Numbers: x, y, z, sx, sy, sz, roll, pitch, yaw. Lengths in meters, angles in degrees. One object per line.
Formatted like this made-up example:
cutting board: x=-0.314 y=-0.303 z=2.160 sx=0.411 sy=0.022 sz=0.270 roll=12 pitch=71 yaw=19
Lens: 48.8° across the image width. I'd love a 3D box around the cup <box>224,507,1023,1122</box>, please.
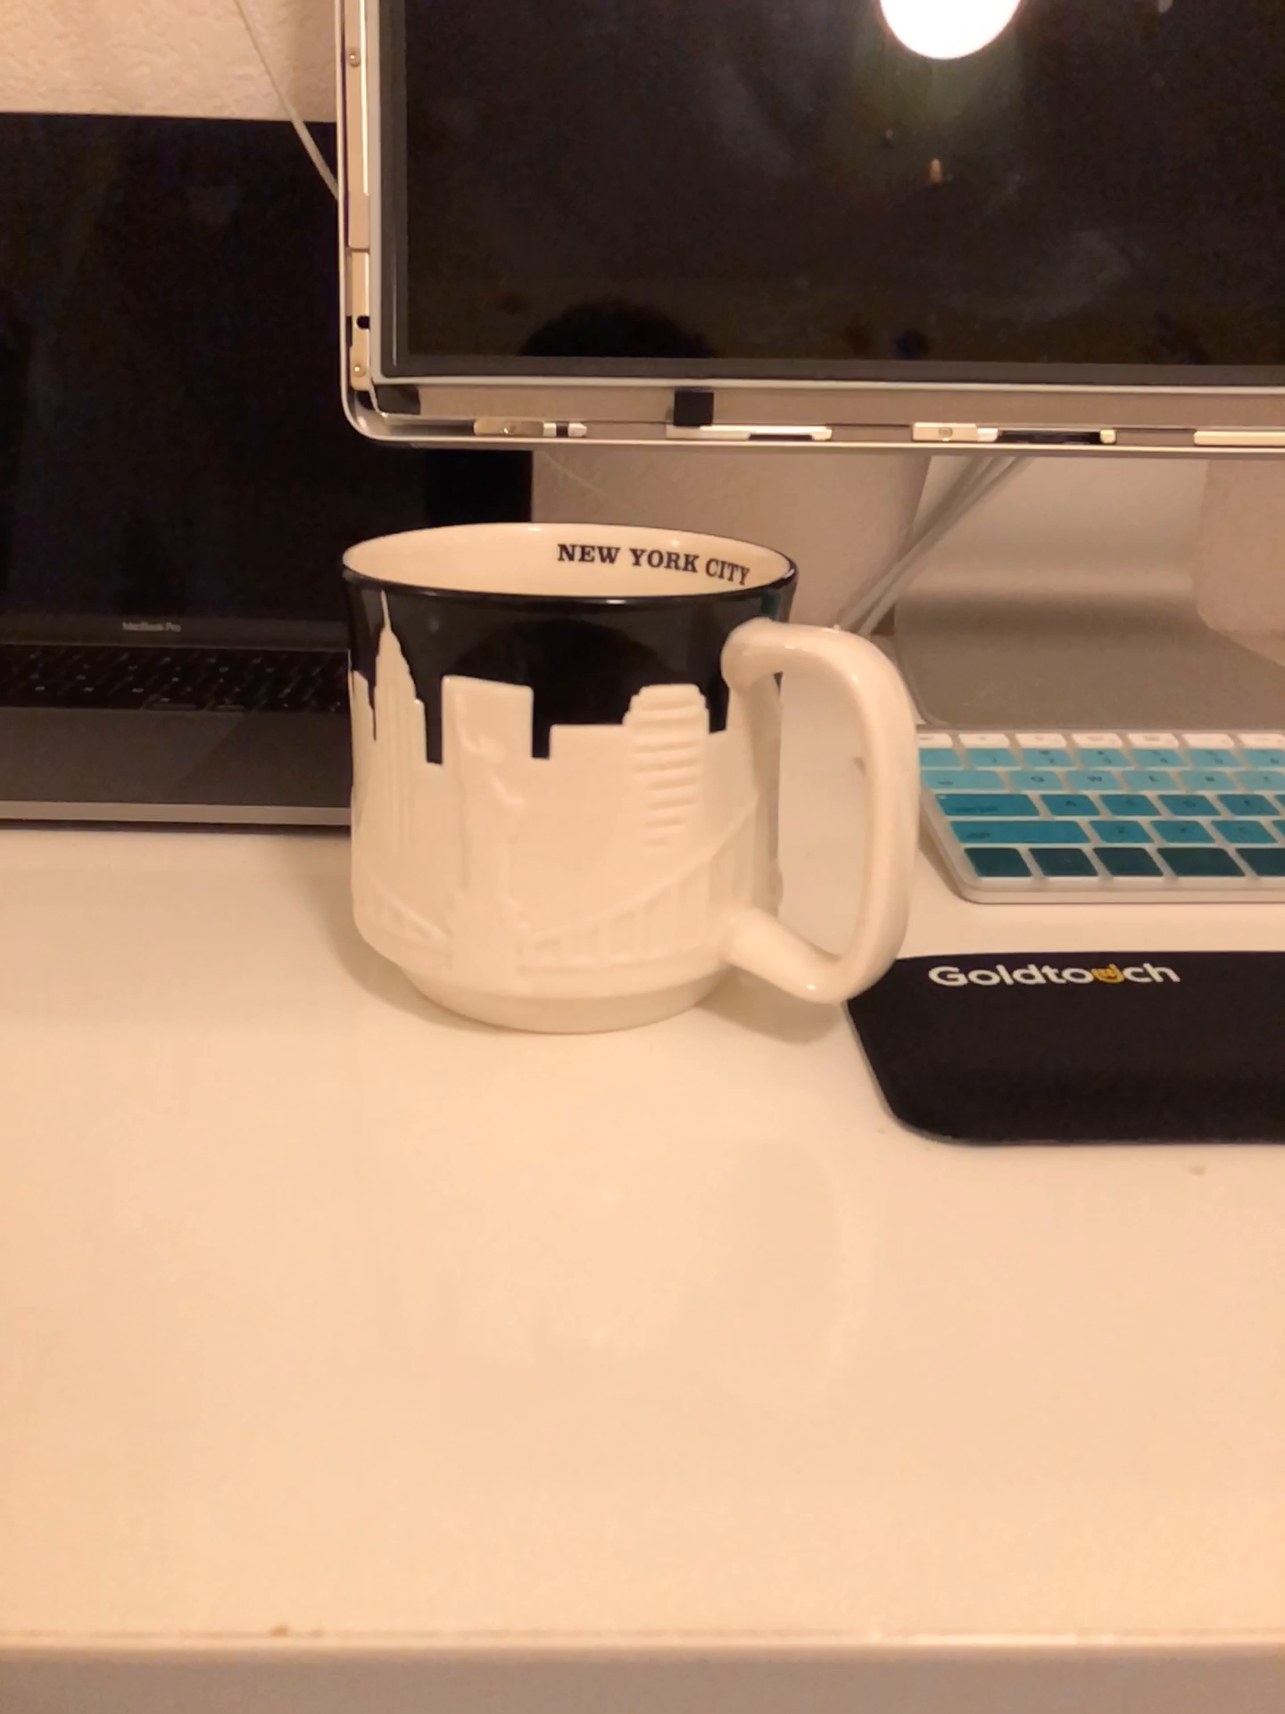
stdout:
cup: x=-0.001 y=-0.023 z=0.327 sx=0.140 sy=0.090 sz=0.110 roll=12 pitch=24 yaw=25
